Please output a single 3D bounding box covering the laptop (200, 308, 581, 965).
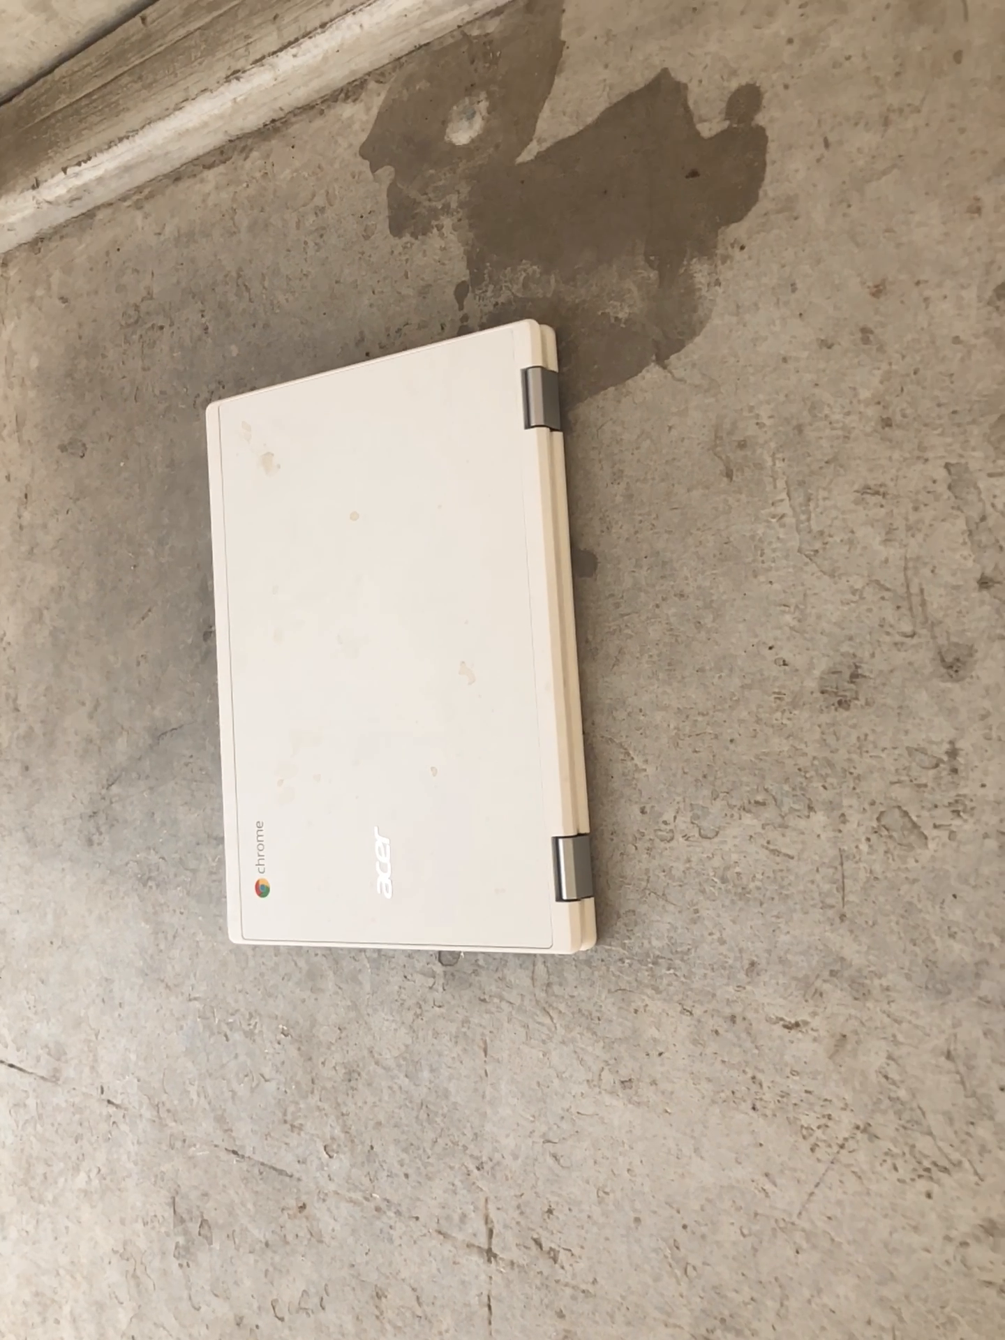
[{"bbox_3d":[-0.063,-0.008,0.539,0.190,0.046,0.278,-6,84,36],"label":"laptop"}]
